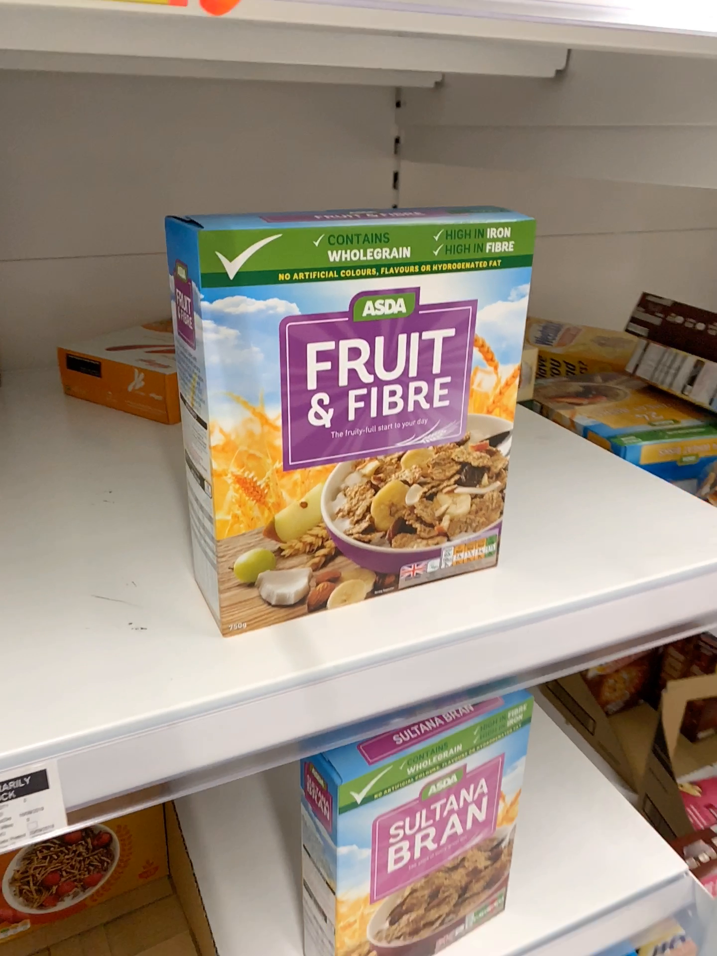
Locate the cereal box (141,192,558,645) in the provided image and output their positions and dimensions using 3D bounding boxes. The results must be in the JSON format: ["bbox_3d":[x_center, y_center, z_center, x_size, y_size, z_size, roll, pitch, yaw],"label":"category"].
[{"bbox_3d":[-0.001,-0.049,0.494,0.240,0.258,0.081,-11,25,-23],"label":"cereal box"}]
